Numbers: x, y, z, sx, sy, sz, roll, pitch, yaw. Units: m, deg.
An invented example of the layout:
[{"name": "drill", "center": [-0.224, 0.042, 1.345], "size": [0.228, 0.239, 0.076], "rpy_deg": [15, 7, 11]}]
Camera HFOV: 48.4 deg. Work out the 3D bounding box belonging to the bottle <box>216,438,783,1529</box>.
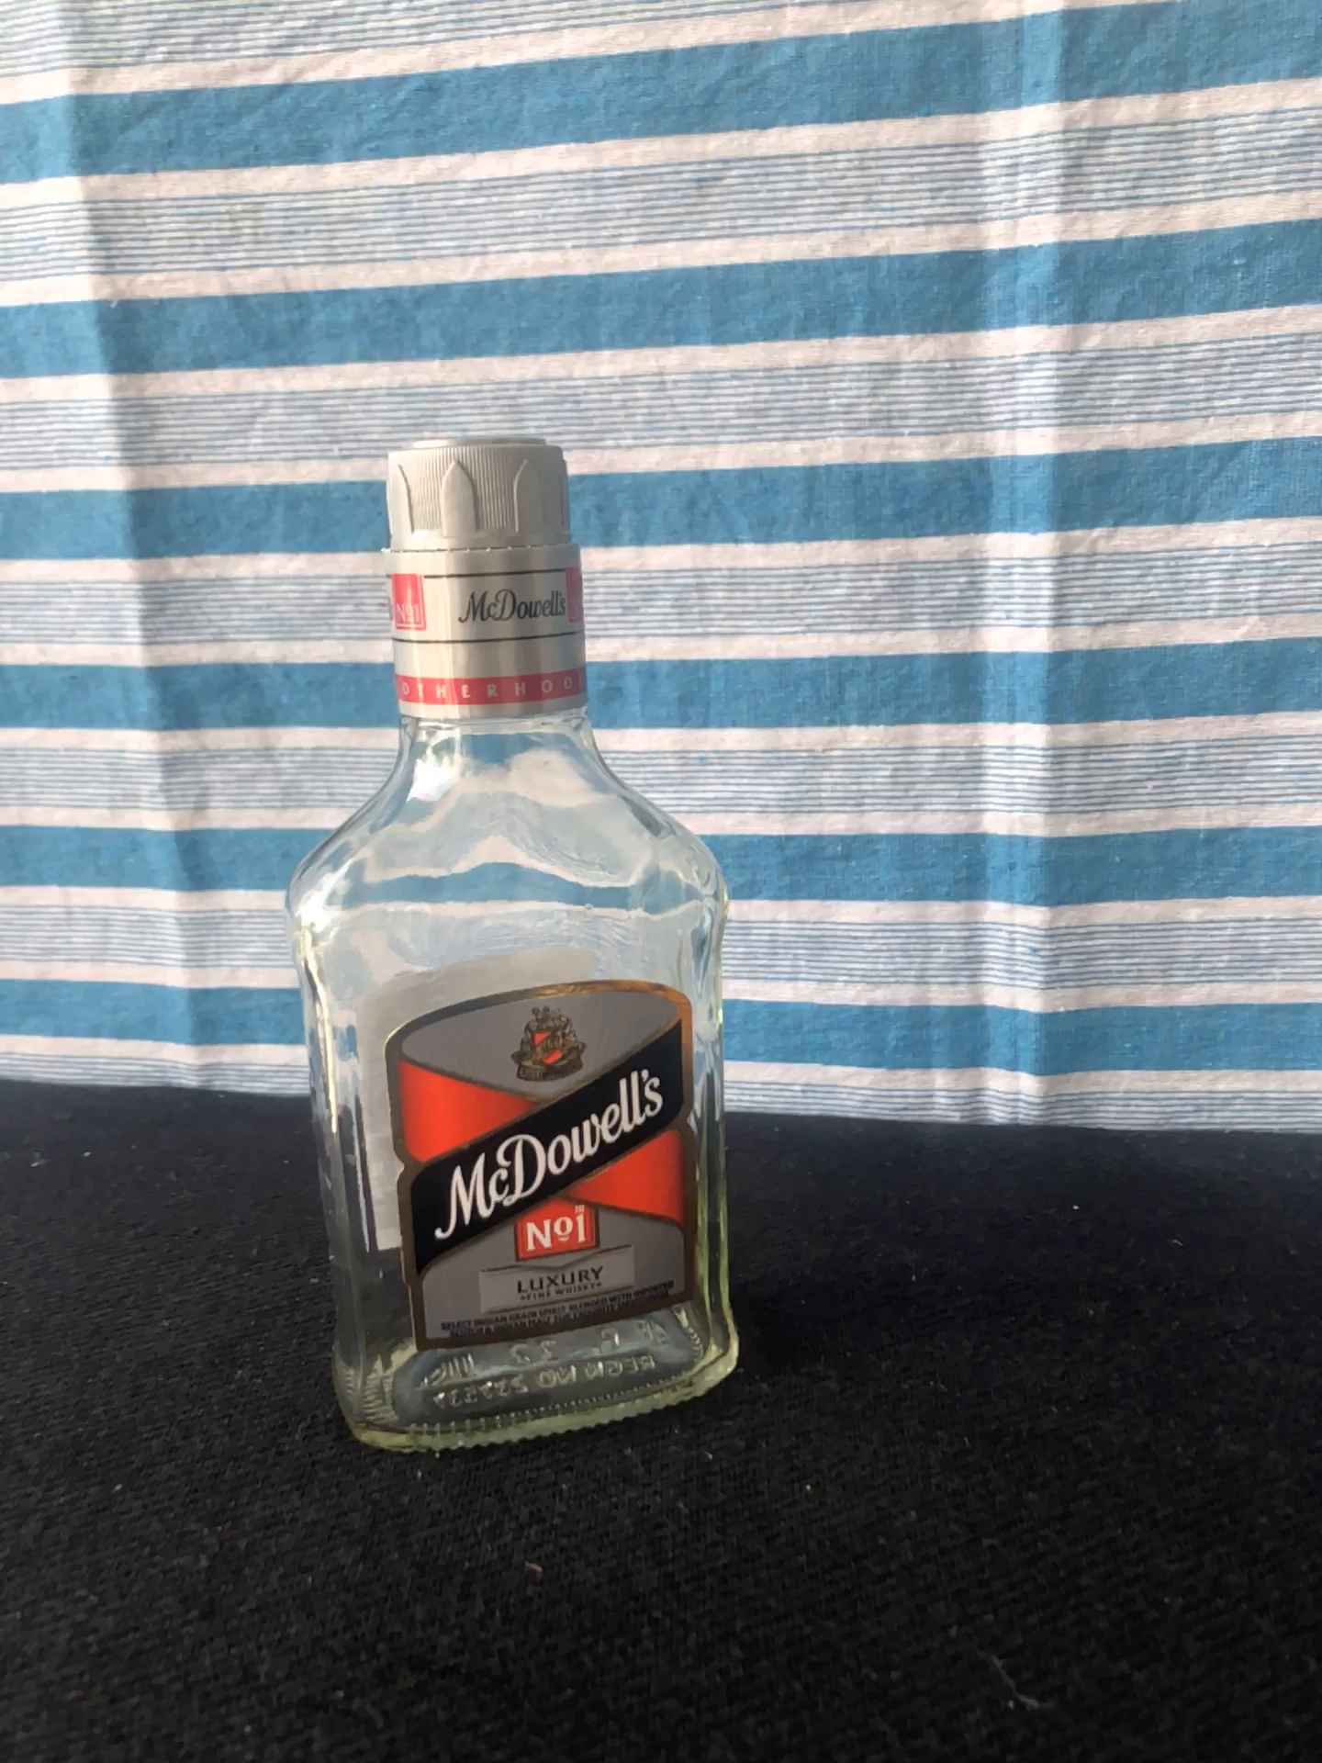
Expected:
[{"name": "bottle", "center": [-0.024, 0.011, 0.224], "size": [0.070, 0.149, 0.050], "rpy_deg": [-5, 17, -15]}]
